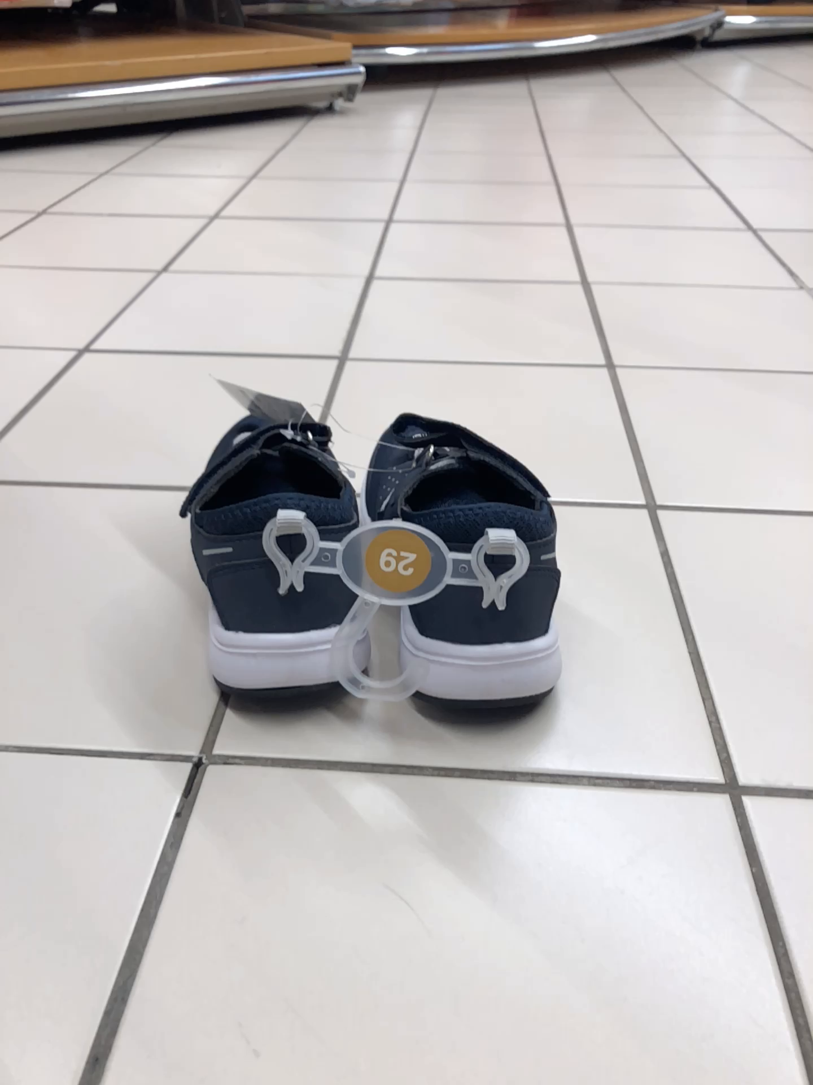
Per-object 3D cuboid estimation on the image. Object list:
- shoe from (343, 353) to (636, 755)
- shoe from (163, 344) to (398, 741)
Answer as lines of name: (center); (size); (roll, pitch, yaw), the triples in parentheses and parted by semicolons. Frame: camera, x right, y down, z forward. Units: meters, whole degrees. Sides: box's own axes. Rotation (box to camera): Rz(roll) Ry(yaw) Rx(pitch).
shoe: (0.024, -0.009, 0.413); (0.083, 0.084, 0.196); (-5, 33, -8)
shoe: (-0.063, -0.015, 0.414); (0.081, 0.080, 0.199); (-6, 34, -10)
